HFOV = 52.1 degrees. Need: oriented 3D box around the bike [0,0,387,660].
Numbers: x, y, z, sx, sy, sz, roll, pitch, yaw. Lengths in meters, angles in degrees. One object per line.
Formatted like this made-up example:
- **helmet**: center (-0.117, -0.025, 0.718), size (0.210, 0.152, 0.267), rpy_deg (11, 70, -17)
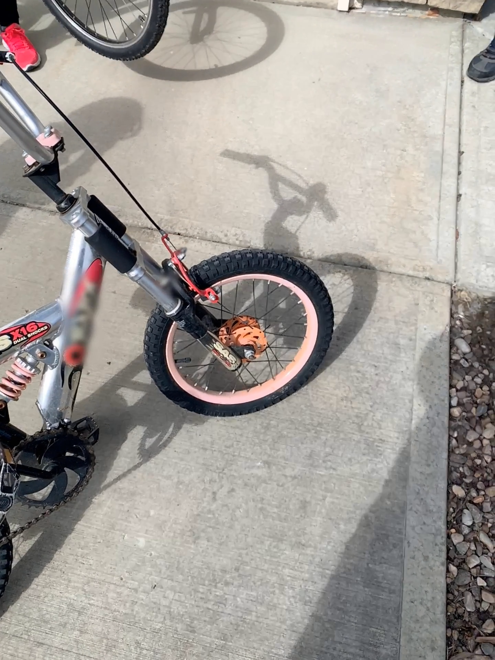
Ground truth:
- **bike**: center (-0.359, -0.028, 0.798), size (1.126, 0.691, 0.358), rpy_deg (-36, 60, -25)
